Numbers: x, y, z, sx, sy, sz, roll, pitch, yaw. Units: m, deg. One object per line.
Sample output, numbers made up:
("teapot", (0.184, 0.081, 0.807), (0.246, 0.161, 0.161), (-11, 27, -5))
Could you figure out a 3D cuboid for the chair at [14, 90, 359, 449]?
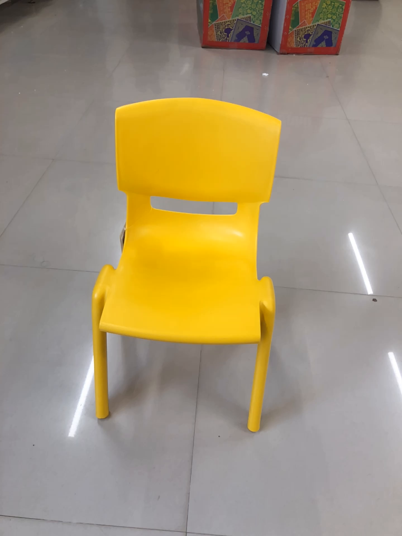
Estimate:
("chair", (-0.016, -0.015, 0.761), (0.360, 0.397, 0.453), (4, 40, 0))
